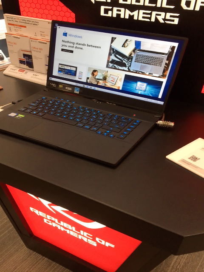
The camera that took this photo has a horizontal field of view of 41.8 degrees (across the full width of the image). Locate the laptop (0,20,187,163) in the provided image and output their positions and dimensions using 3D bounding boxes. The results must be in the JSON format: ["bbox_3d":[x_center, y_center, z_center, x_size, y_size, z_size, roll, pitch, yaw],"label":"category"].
[{"bbox_3d":[-0.058,-0.140,0.682,0.385,0.211,0.309,19,40,22],"label":"laptop"}]
